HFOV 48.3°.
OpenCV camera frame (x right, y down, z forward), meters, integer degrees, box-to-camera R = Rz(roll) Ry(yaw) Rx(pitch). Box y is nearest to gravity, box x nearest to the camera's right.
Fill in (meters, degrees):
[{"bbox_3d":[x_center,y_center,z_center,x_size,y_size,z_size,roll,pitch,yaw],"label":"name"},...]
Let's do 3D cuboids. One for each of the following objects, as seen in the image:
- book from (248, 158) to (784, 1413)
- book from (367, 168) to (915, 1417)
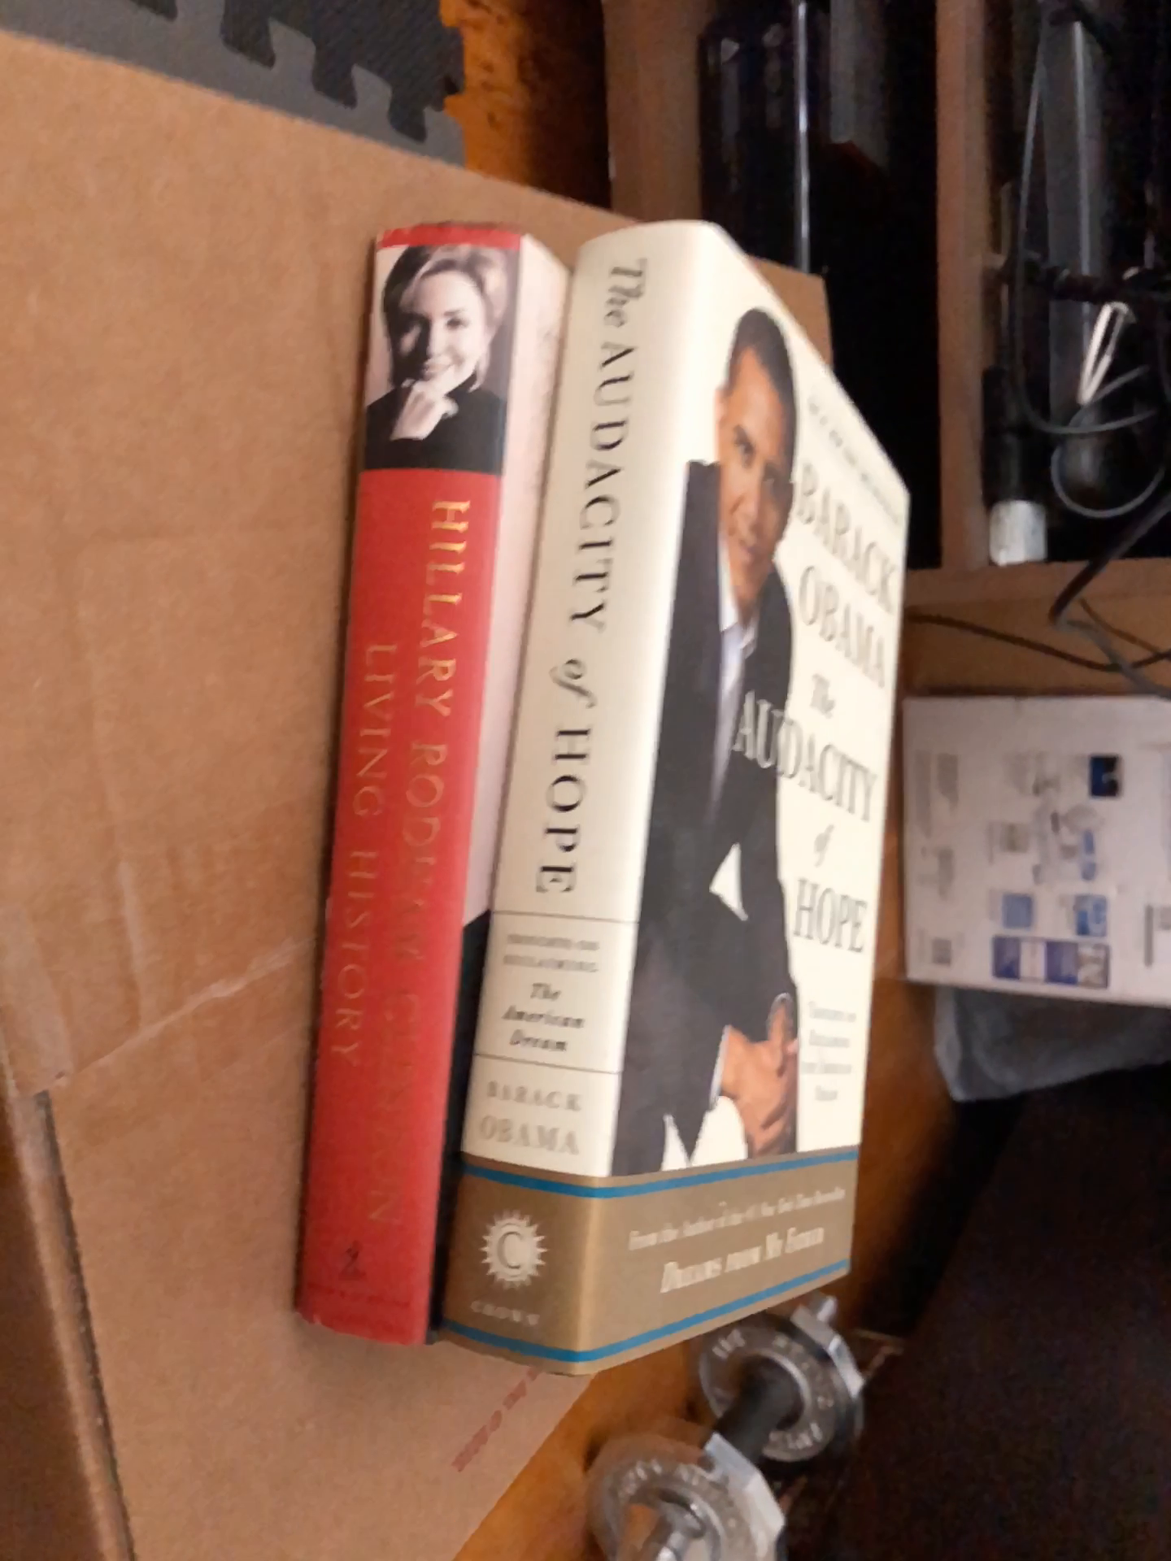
[{"bbox_3d":[-0.003,0.004,0.343,0.171,0.040,0.250,11,82,-61],"label":"book"},{"bbox_3d":[0.034,0.011,0.348,0.191,0.040,0.250,23,71,-59],"label":"book"}]
